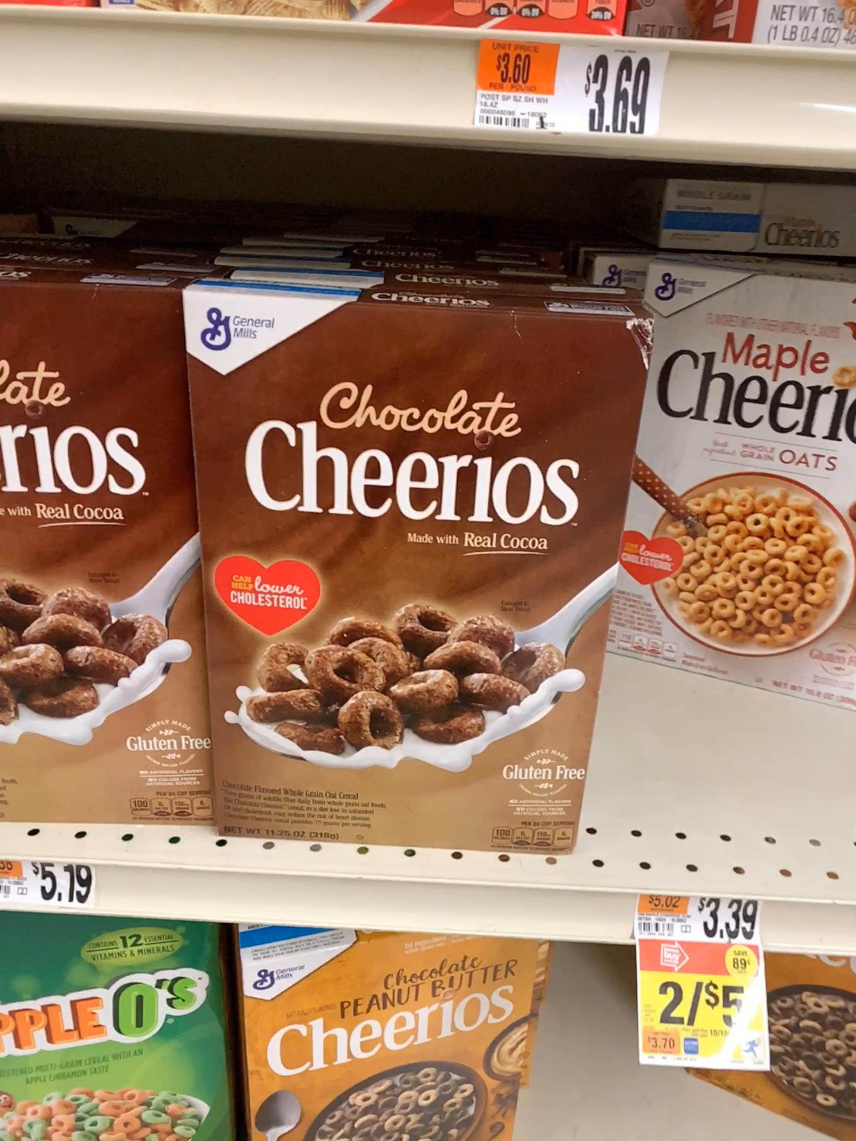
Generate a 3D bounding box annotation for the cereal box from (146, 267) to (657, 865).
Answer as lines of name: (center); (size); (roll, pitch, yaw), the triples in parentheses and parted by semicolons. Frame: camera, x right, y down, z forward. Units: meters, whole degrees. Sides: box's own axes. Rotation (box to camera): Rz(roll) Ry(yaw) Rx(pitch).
cereal box: (-0.018, 0.011, 0.451); (0.210, 0.298, 0.060); (4, 26, 1)
